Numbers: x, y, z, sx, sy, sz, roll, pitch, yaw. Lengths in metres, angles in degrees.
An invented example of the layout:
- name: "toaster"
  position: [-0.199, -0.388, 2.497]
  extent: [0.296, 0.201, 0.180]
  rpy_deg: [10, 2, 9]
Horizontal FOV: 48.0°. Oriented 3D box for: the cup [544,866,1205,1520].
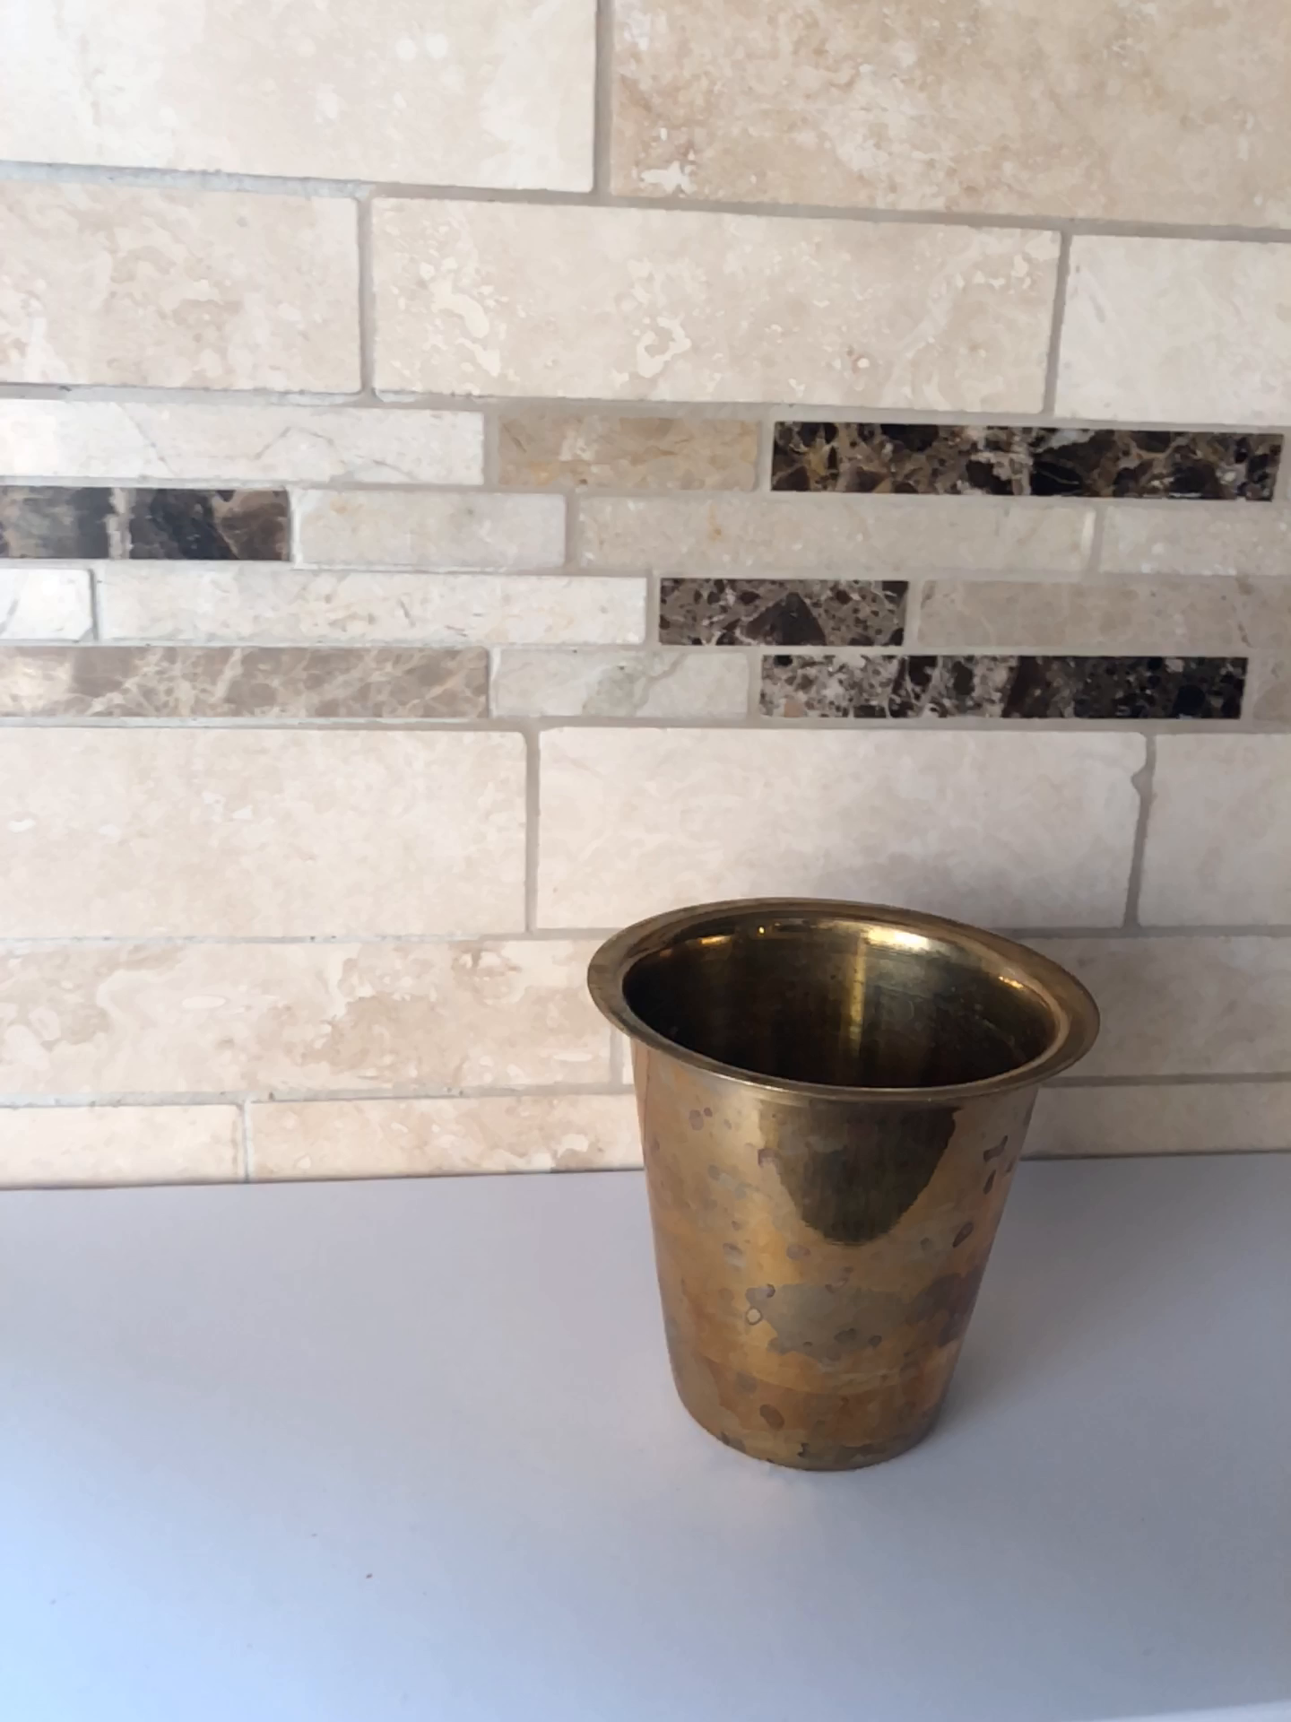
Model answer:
- name: "cup"
  position: [0.029, 0.047, 0.239]
  extent: [0.083, 0.071, 0.075]
  rpy_deg: [-1, 17, -10]
